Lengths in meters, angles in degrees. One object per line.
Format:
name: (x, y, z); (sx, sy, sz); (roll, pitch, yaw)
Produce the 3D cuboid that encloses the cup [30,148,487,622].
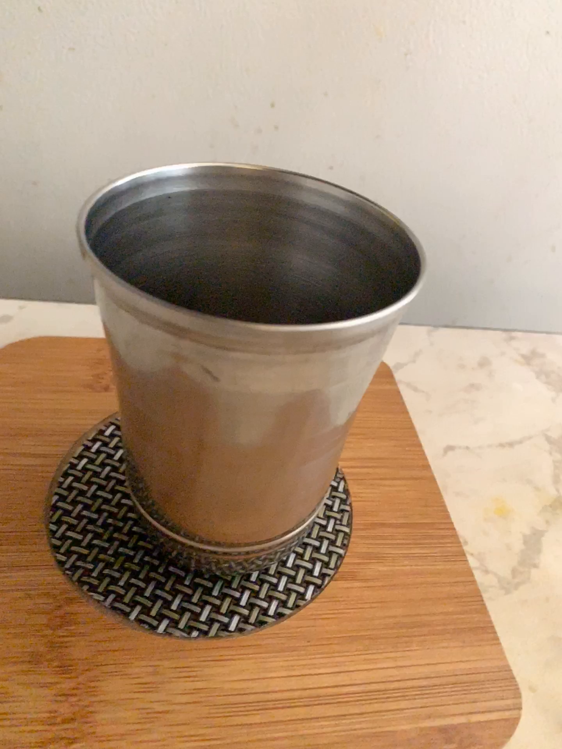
cup: (-0.010, 0.005, 0.149); (0.072, 0.091, 0.071); (5, 40, -4)
